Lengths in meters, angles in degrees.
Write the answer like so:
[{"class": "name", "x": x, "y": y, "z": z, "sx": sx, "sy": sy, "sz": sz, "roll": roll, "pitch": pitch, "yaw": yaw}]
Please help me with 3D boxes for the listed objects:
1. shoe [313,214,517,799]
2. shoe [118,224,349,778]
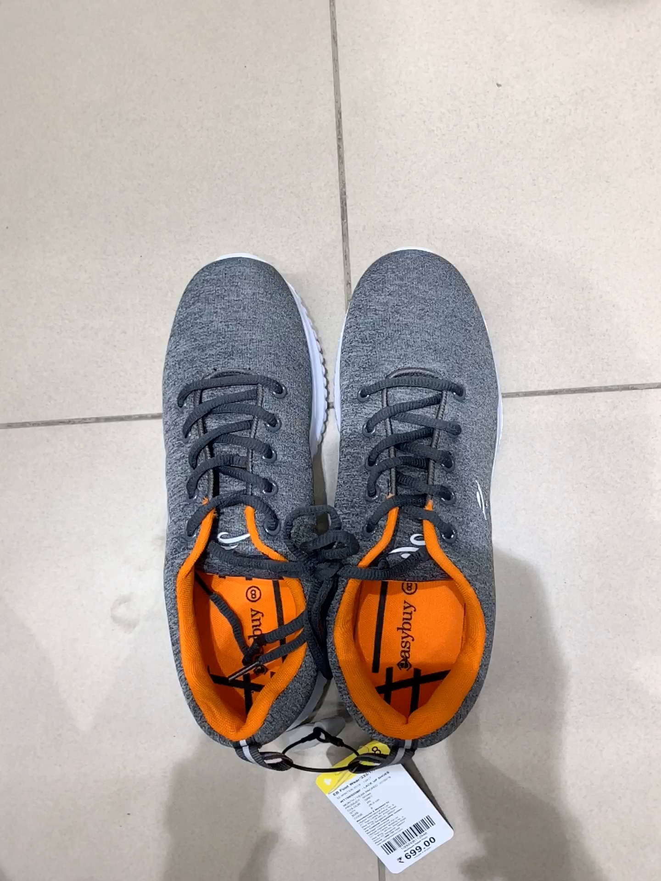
[{"class": "shoe", "x": 0.047, "y": 0.031, "z": 0.398, "sx": 0.100, "sy": 0.090, "sz": 0.300, "roll": 0, "pitch": 83, "yaw": 5}, {"class": "shoe", "x": -0.053, "y": 0.031, "z": 0.397, "sx": 0.100, "sy": 0.090, "sz": 0.280, "roll": -5, "pitch": 82, "yaw": 4}]
